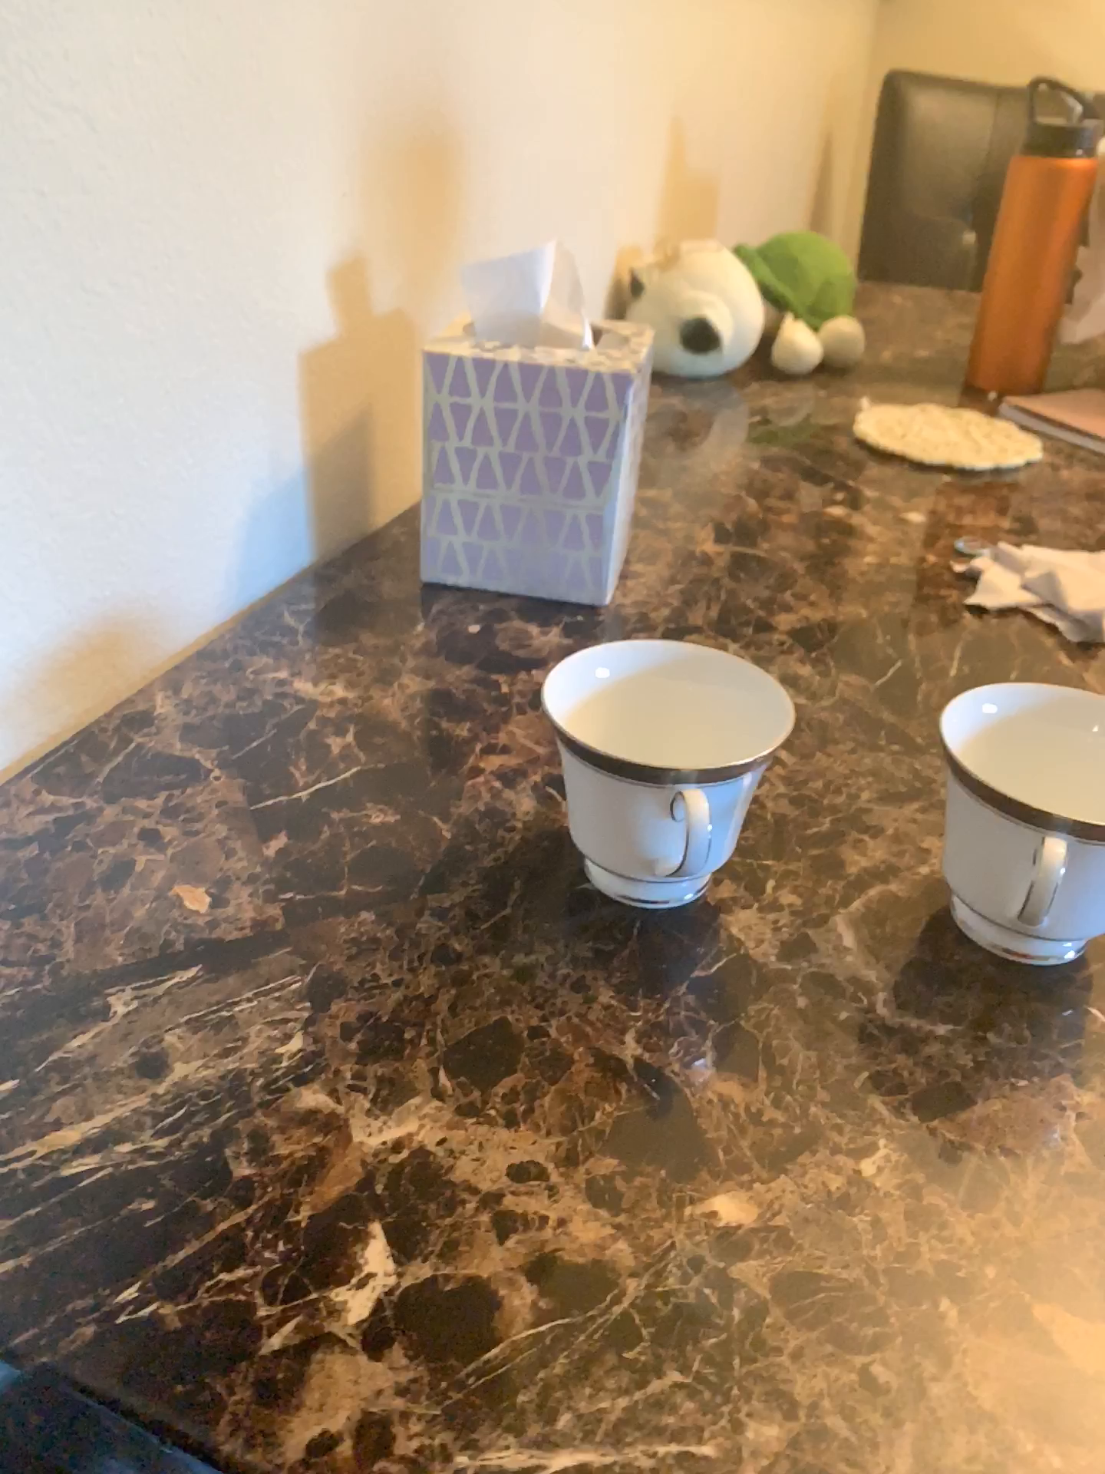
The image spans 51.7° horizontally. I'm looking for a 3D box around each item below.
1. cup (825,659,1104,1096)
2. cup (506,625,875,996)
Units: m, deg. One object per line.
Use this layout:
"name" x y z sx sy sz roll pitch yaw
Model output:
"cup" 0.165 0.040 0.394 0.090 0.070 0.120 21 36 26
"cup" 0.039 0.020 0.398 0.090 0.070 0.111 -5 33 -12
